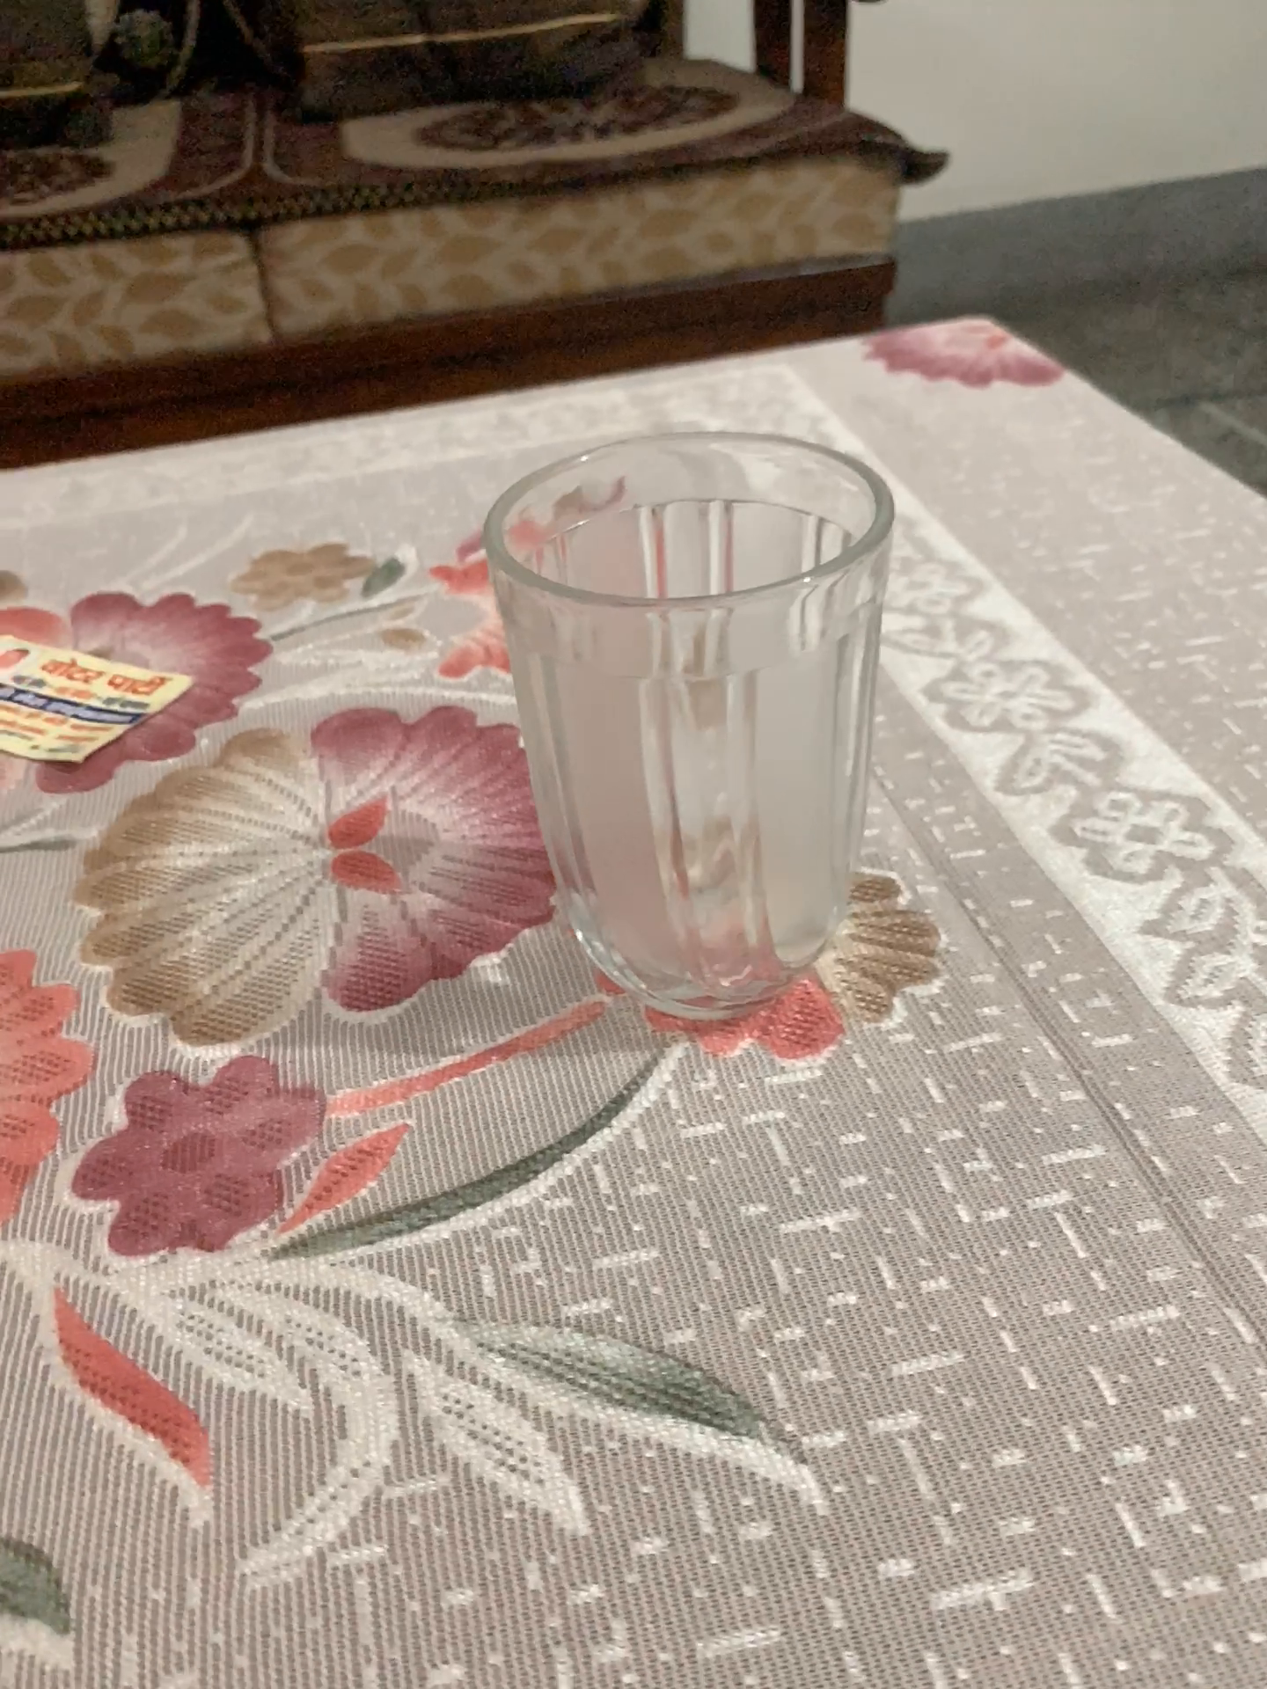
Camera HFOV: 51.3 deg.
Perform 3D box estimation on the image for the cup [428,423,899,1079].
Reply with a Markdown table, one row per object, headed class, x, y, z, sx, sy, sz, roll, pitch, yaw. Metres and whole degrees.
| class | x | y | z | sx | sy | sz | roll | pitch | yaw |
| --- | --- | --- | --- | --- | --- | --- | --- | --- | --- |
| cup | 0.012 | -0.018 | 0.252 | 0.070 | 0.100 | 0.070 | -3 | 38 | 3 |
